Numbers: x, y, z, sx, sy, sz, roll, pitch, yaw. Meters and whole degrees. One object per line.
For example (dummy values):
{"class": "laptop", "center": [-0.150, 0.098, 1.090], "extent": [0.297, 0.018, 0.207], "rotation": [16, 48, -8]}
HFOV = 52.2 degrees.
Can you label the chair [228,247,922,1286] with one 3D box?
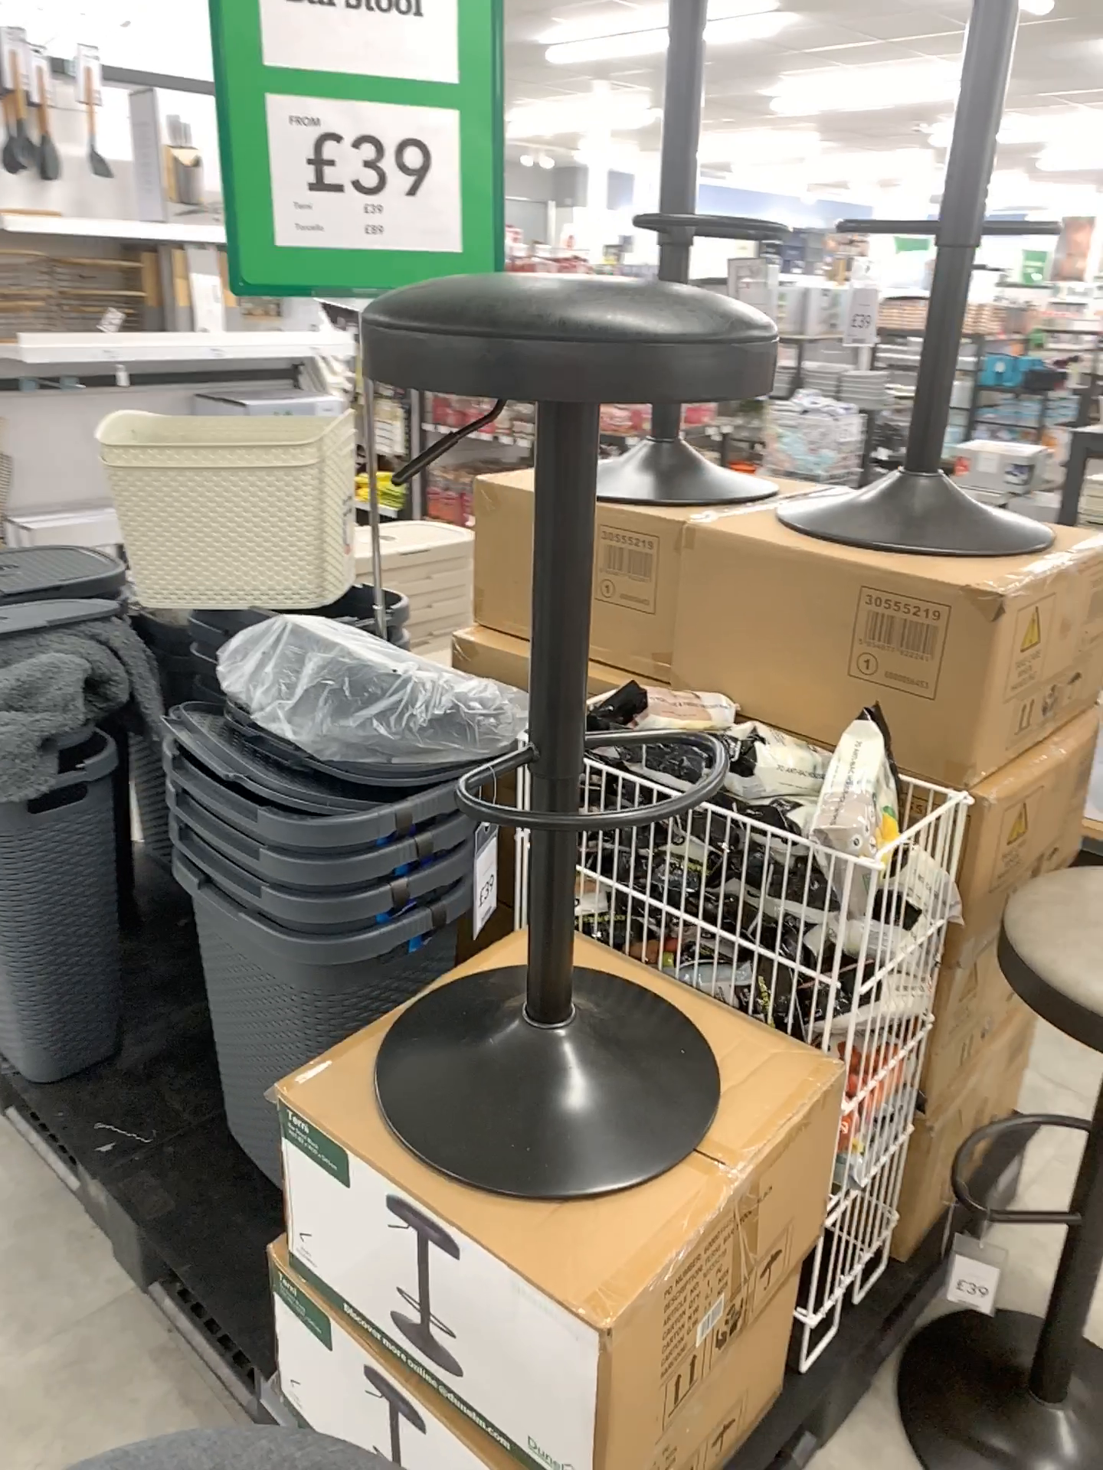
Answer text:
{"class": "chair", "center": [0.008, -0.018, 1.061], "extent": [0.409, 0.795, 0.397], "rotation": [20, 28, 39]}
